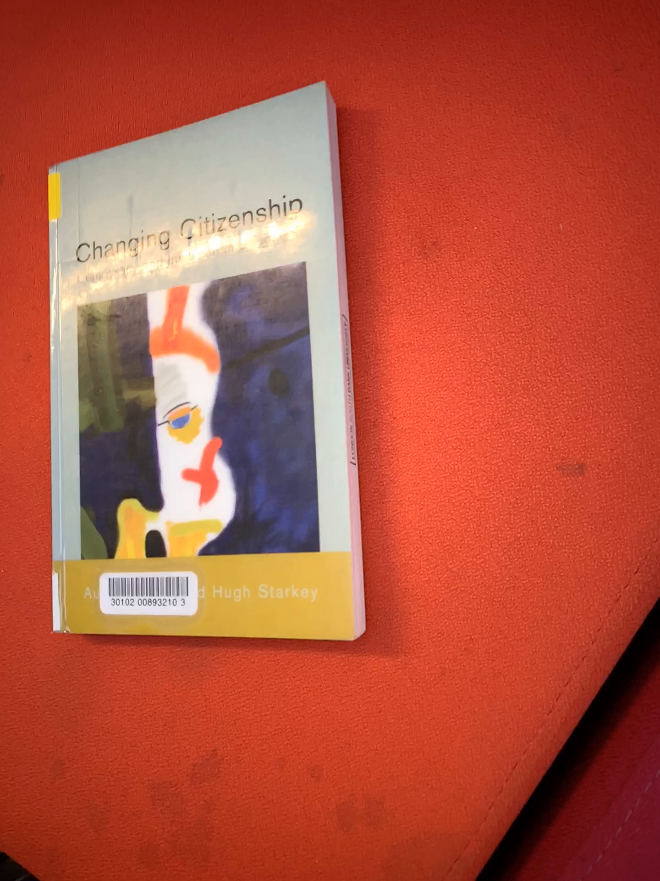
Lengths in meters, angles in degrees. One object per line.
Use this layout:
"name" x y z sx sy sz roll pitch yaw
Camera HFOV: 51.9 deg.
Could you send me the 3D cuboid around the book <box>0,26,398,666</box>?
"book" -0.070 -0.033 0.311 0.180 0.040 0.250 -6 83 22
